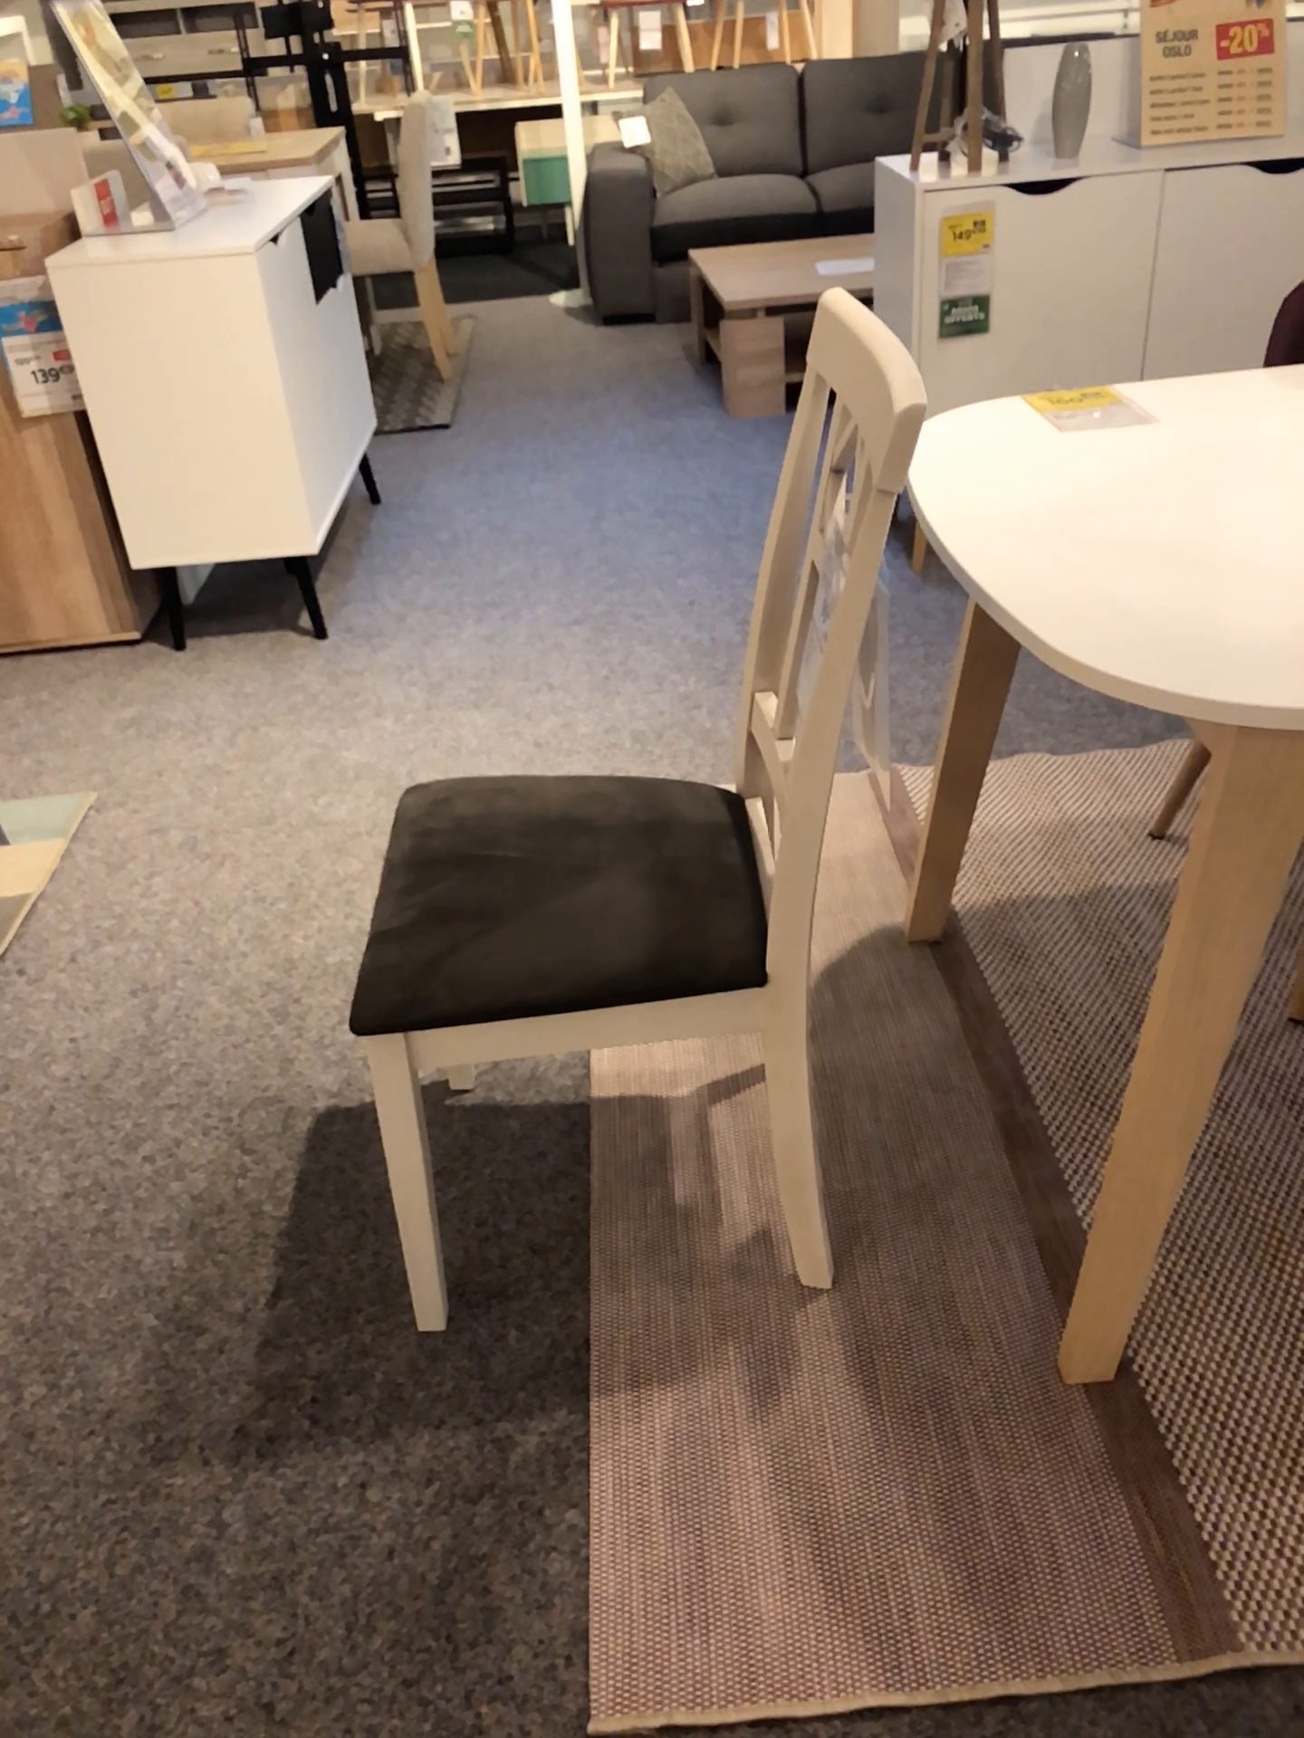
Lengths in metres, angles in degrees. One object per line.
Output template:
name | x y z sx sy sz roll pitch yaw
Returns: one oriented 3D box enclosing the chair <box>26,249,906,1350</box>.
chair | -0.091 -0.060 1.346 0.560 0.855 0.513 -4 32 2
